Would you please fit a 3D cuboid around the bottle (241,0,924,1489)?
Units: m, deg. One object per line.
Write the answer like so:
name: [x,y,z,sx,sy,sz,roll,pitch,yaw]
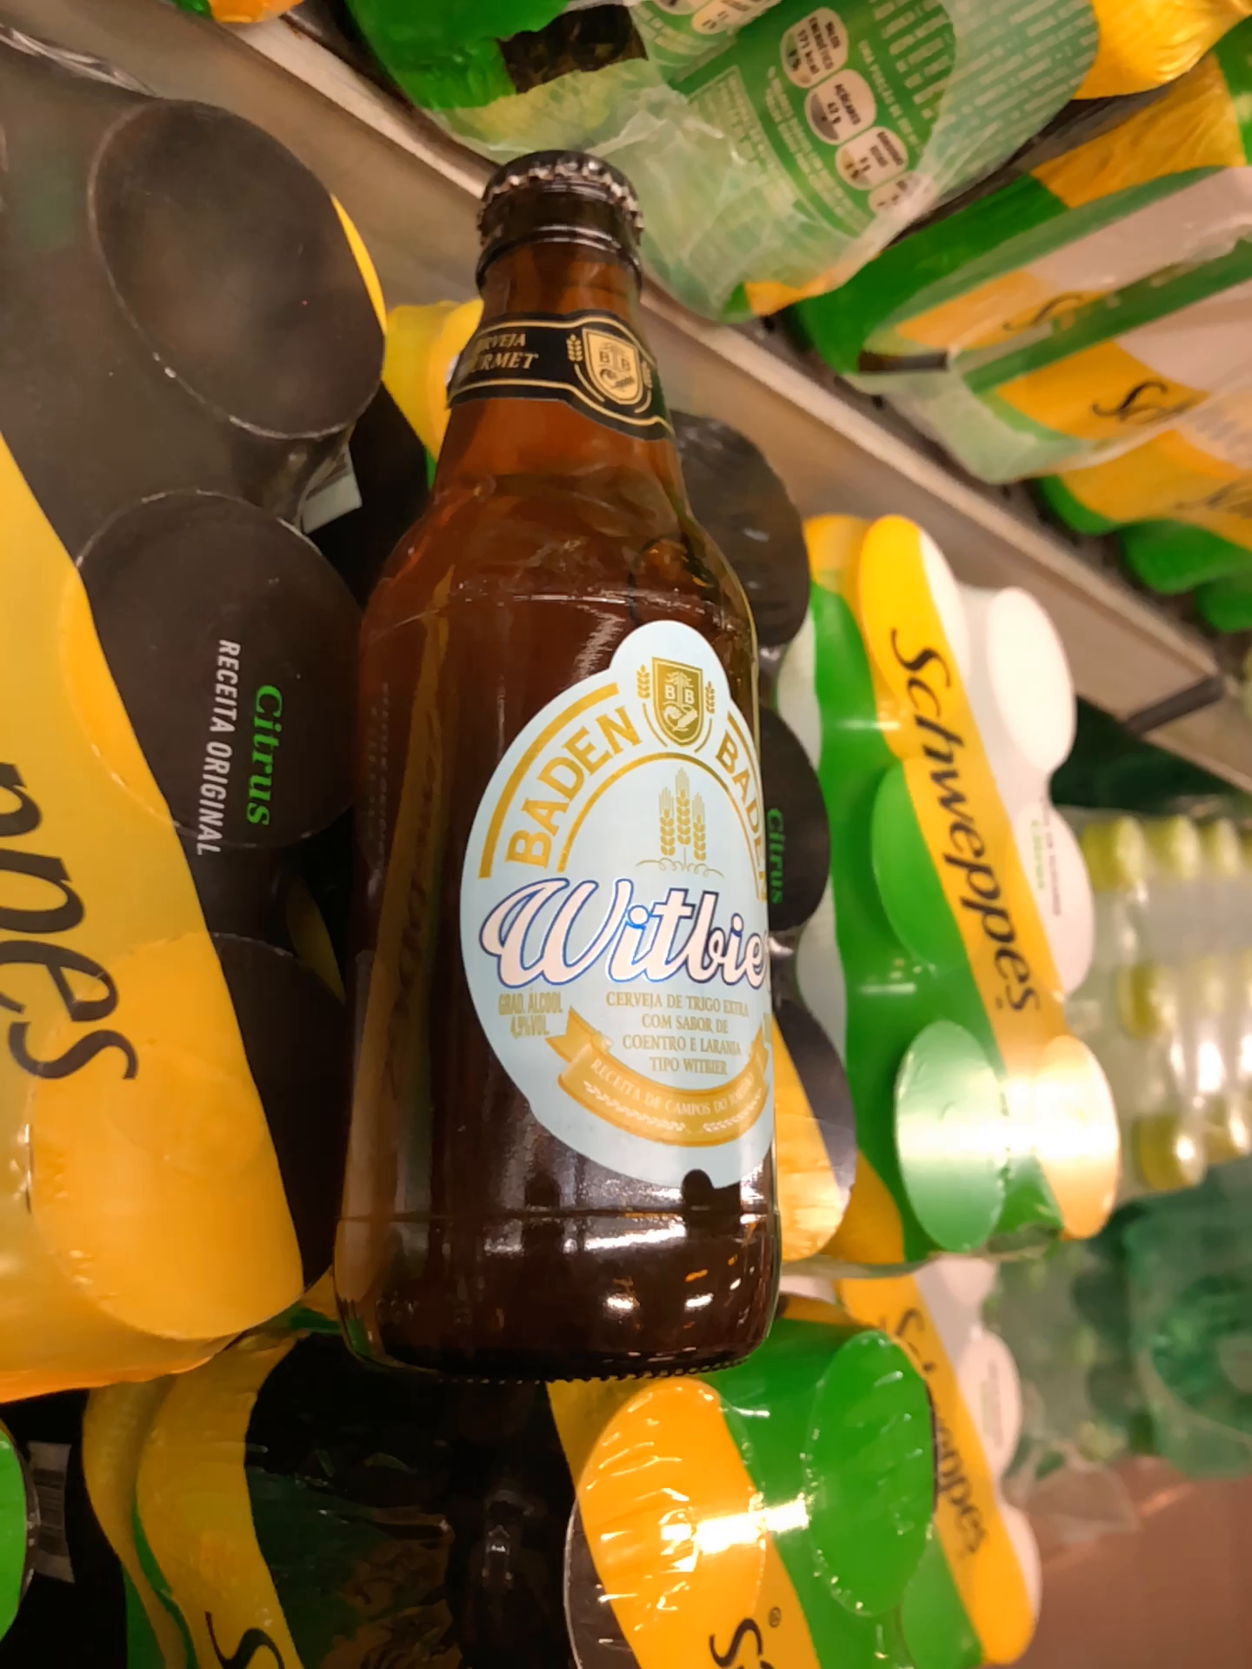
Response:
bottle: [-0.001,-0.020,0.211,0.070,0.060,0.200,17,70,-47]
